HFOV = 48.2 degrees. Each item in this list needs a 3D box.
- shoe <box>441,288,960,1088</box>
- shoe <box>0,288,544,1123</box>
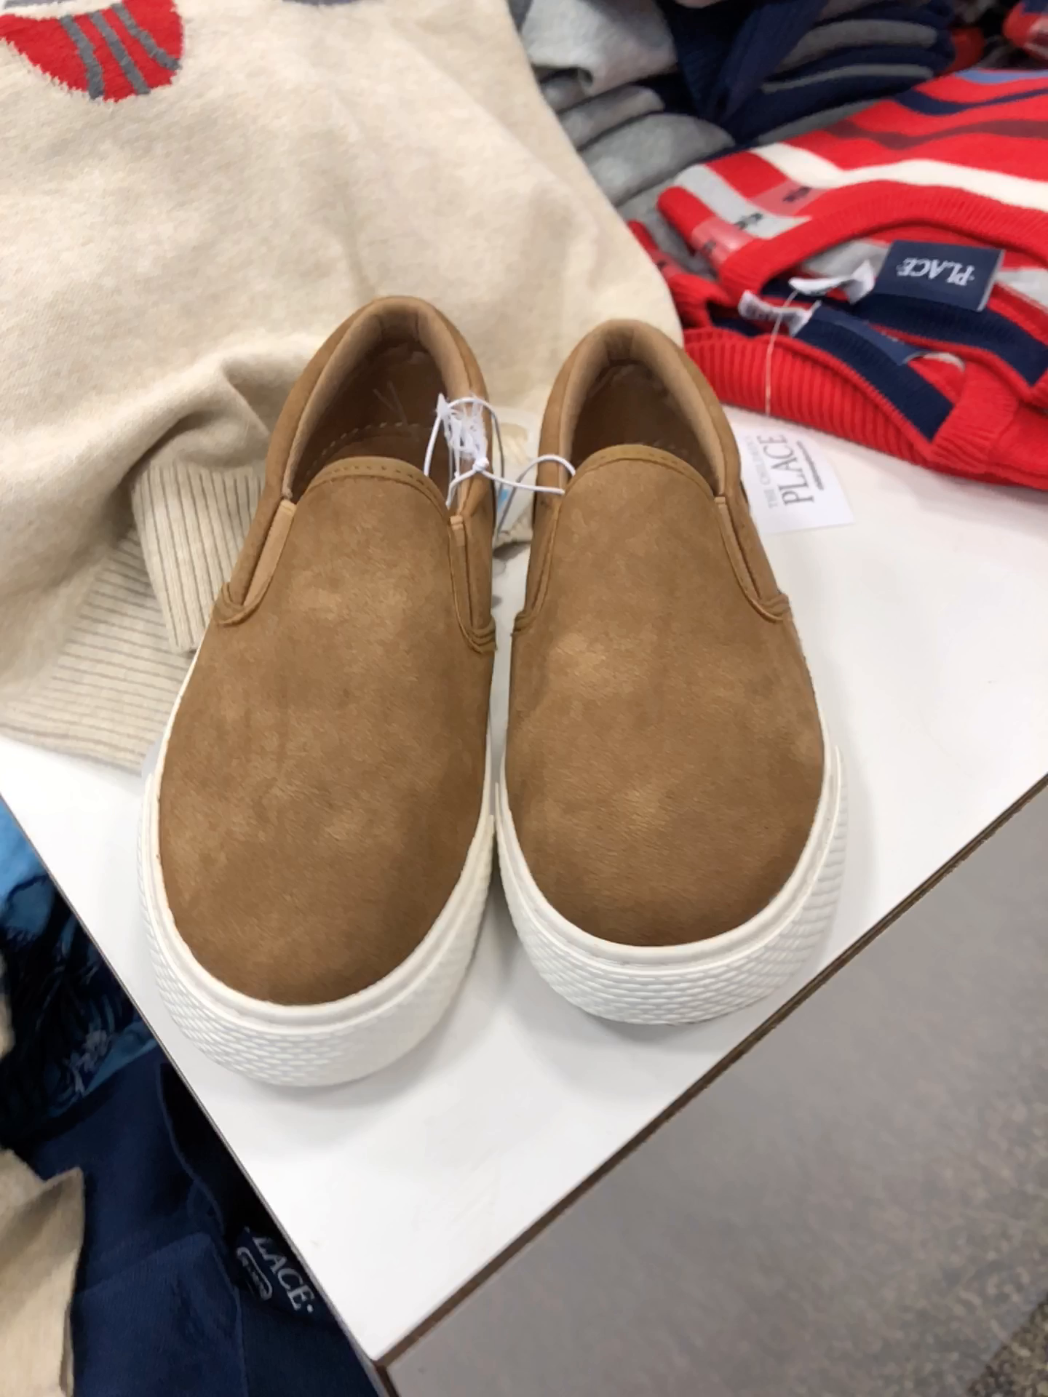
[{"bbox_3d":[0.033,-0.022,0.321,0.092,0.080,0.231,-4,42,3],"label":"shoe"},{"bbox_3d":[-0.051,-0.018,0.307,0.092,0.080,0.231,-1,42,7],"label":"shoe"}]
